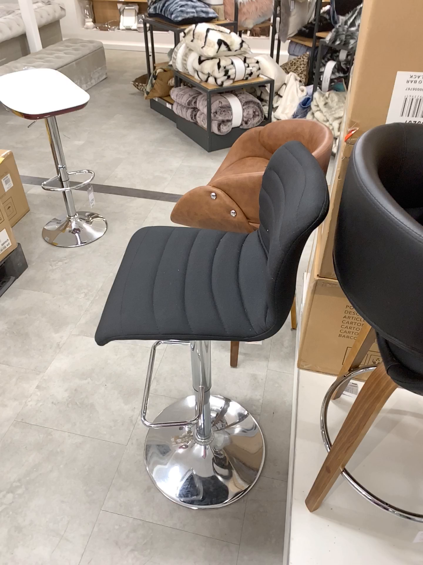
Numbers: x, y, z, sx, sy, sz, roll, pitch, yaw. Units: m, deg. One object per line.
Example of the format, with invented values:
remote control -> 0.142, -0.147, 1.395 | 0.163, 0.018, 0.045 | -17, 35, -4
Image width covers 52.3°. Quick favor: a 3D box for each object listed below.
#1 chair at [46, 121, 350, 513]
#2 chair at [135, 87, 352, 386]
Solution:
chair -> -0.015, 0.153, 1.154 | 0.468, 0.994, 0.458 | 1, 39, 1
chair -> 0.124, -0.170, 1.624 | 0.519, 0.875, 0.528 | 17, 42, 19
